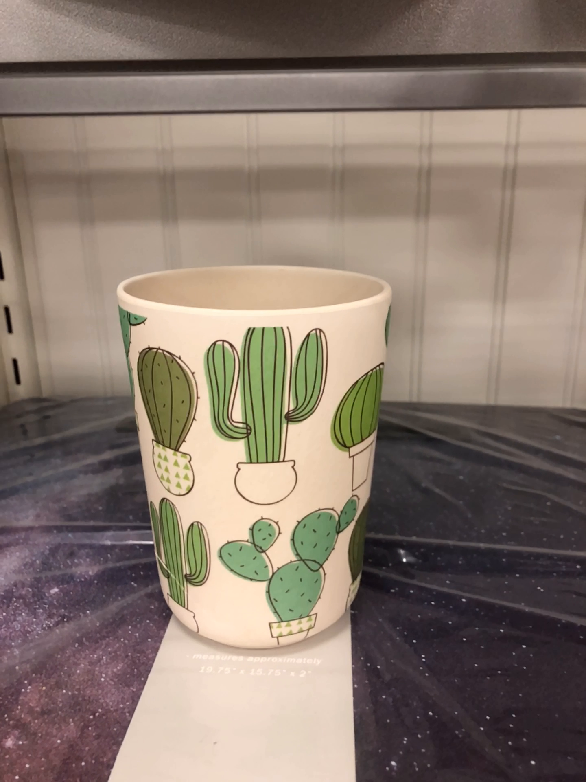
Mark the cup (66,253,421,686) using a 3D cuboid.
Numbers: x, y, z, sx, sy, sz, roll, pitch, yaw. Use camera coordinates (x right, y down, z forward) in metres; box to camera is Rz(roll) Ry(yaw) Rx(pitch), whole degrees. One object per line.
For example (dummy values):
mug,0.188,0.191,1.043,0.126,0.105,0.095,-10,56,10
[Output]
cup,-0.010,0.019,0.256,0.100,0.129,0.090,5,20,18
